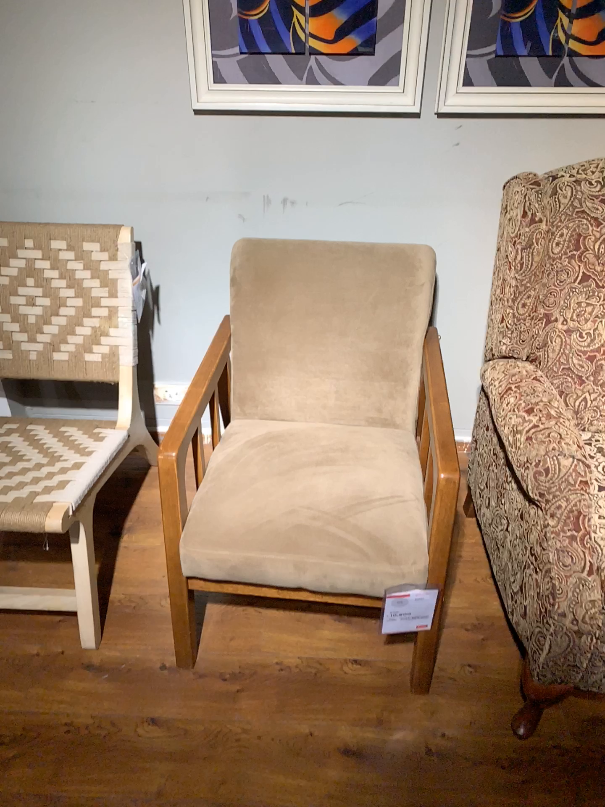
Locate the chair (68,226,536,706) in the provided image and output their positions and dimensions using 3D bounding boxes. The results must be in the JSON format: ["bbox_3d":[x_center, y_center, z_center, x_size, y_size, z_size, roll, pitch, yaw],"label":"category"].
[{"bbox_3d":[0.024,0.080,1.510,0.720,0.737,0.873,3,33,4],"label":"chair"}]
